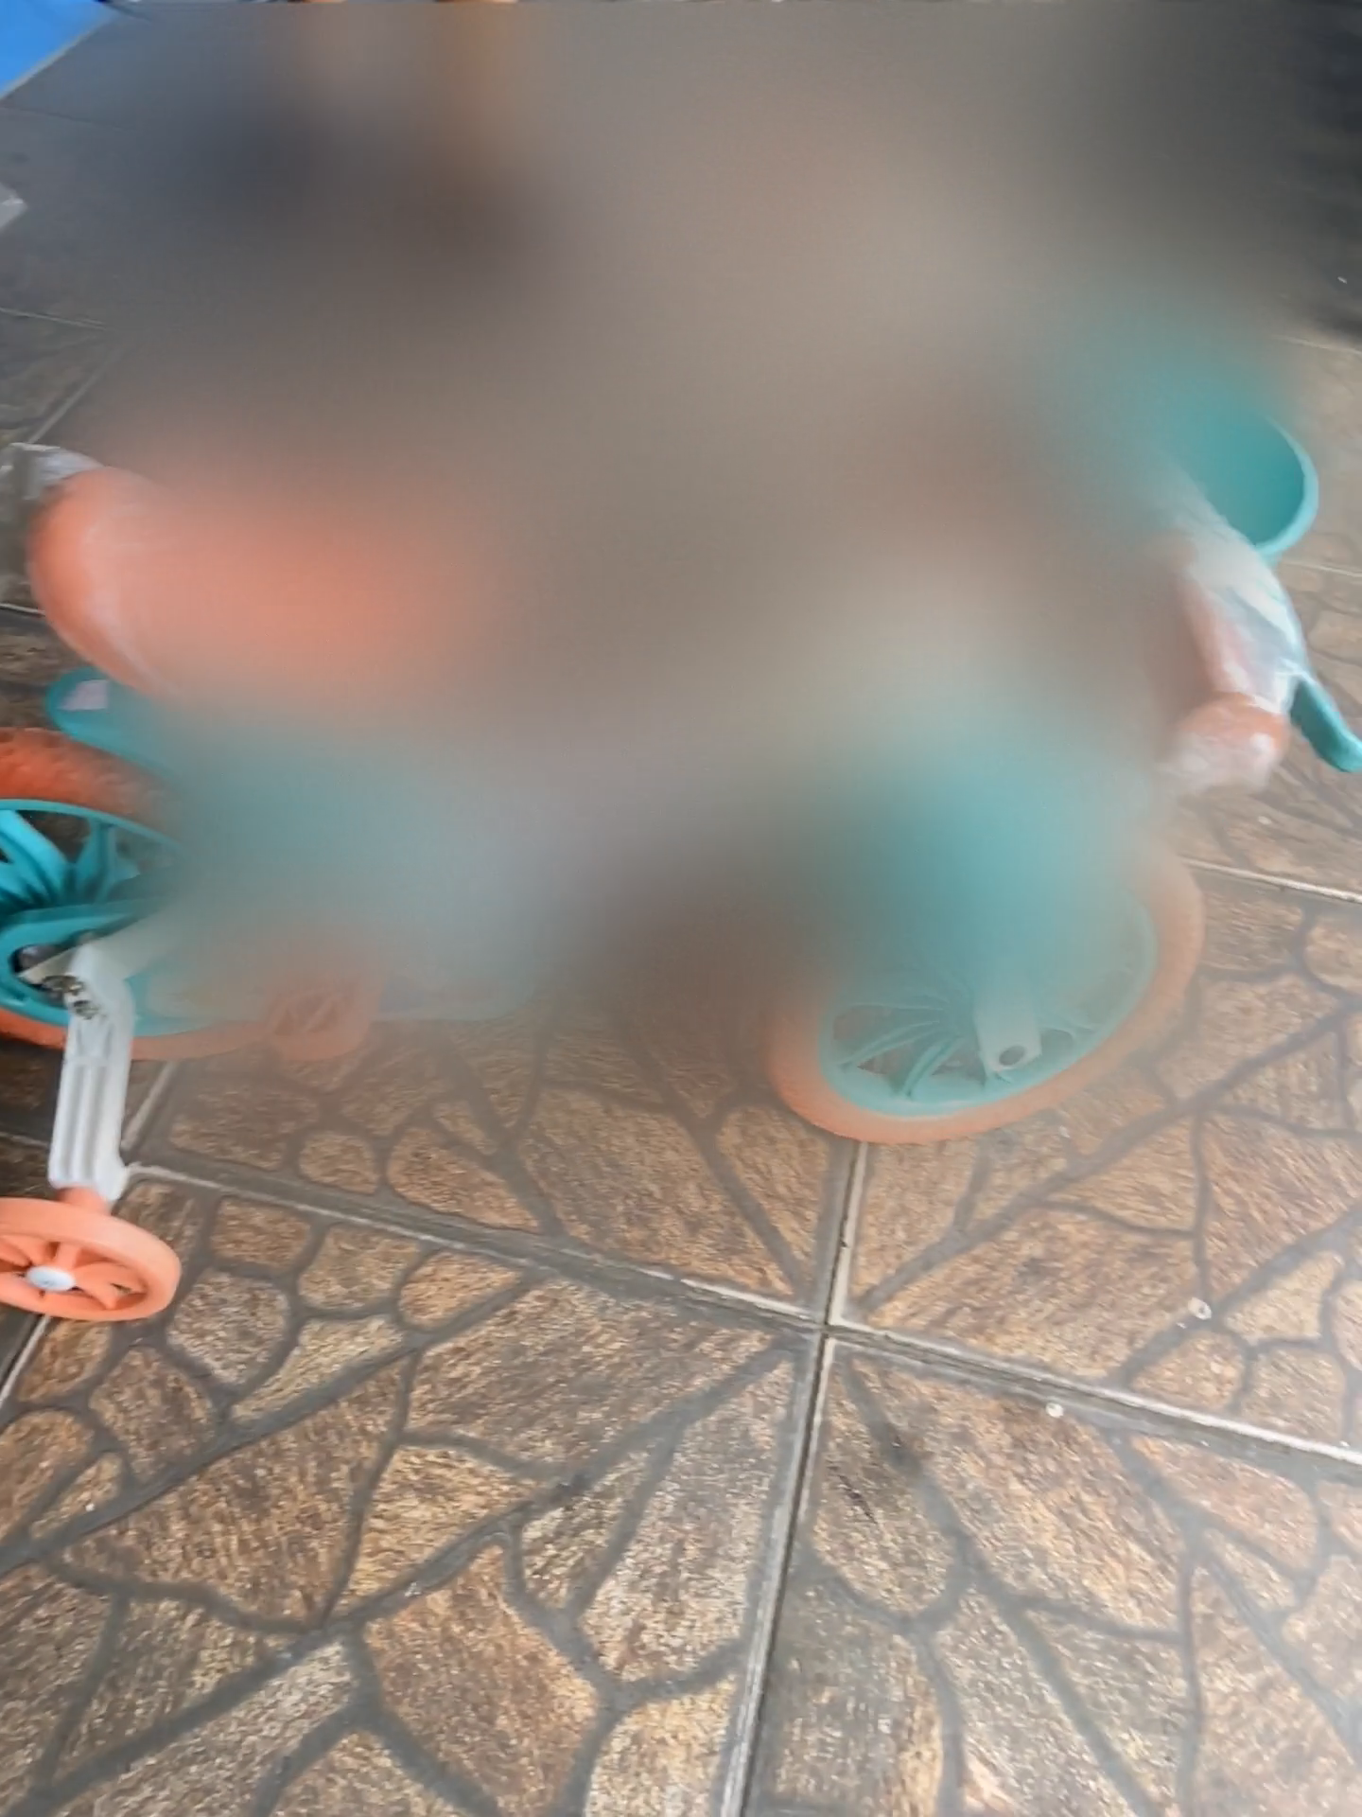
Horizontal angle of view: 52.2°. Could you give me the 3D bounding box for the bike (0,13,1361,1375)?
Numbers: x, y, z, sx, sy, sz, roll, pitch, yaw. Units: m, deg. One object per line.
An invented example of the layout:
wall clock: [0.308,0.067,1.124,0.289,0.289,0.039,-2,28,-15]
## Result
bike: [-0.086,-0.102,0.767,0.806,0.534,0.501,0,50,-1]
